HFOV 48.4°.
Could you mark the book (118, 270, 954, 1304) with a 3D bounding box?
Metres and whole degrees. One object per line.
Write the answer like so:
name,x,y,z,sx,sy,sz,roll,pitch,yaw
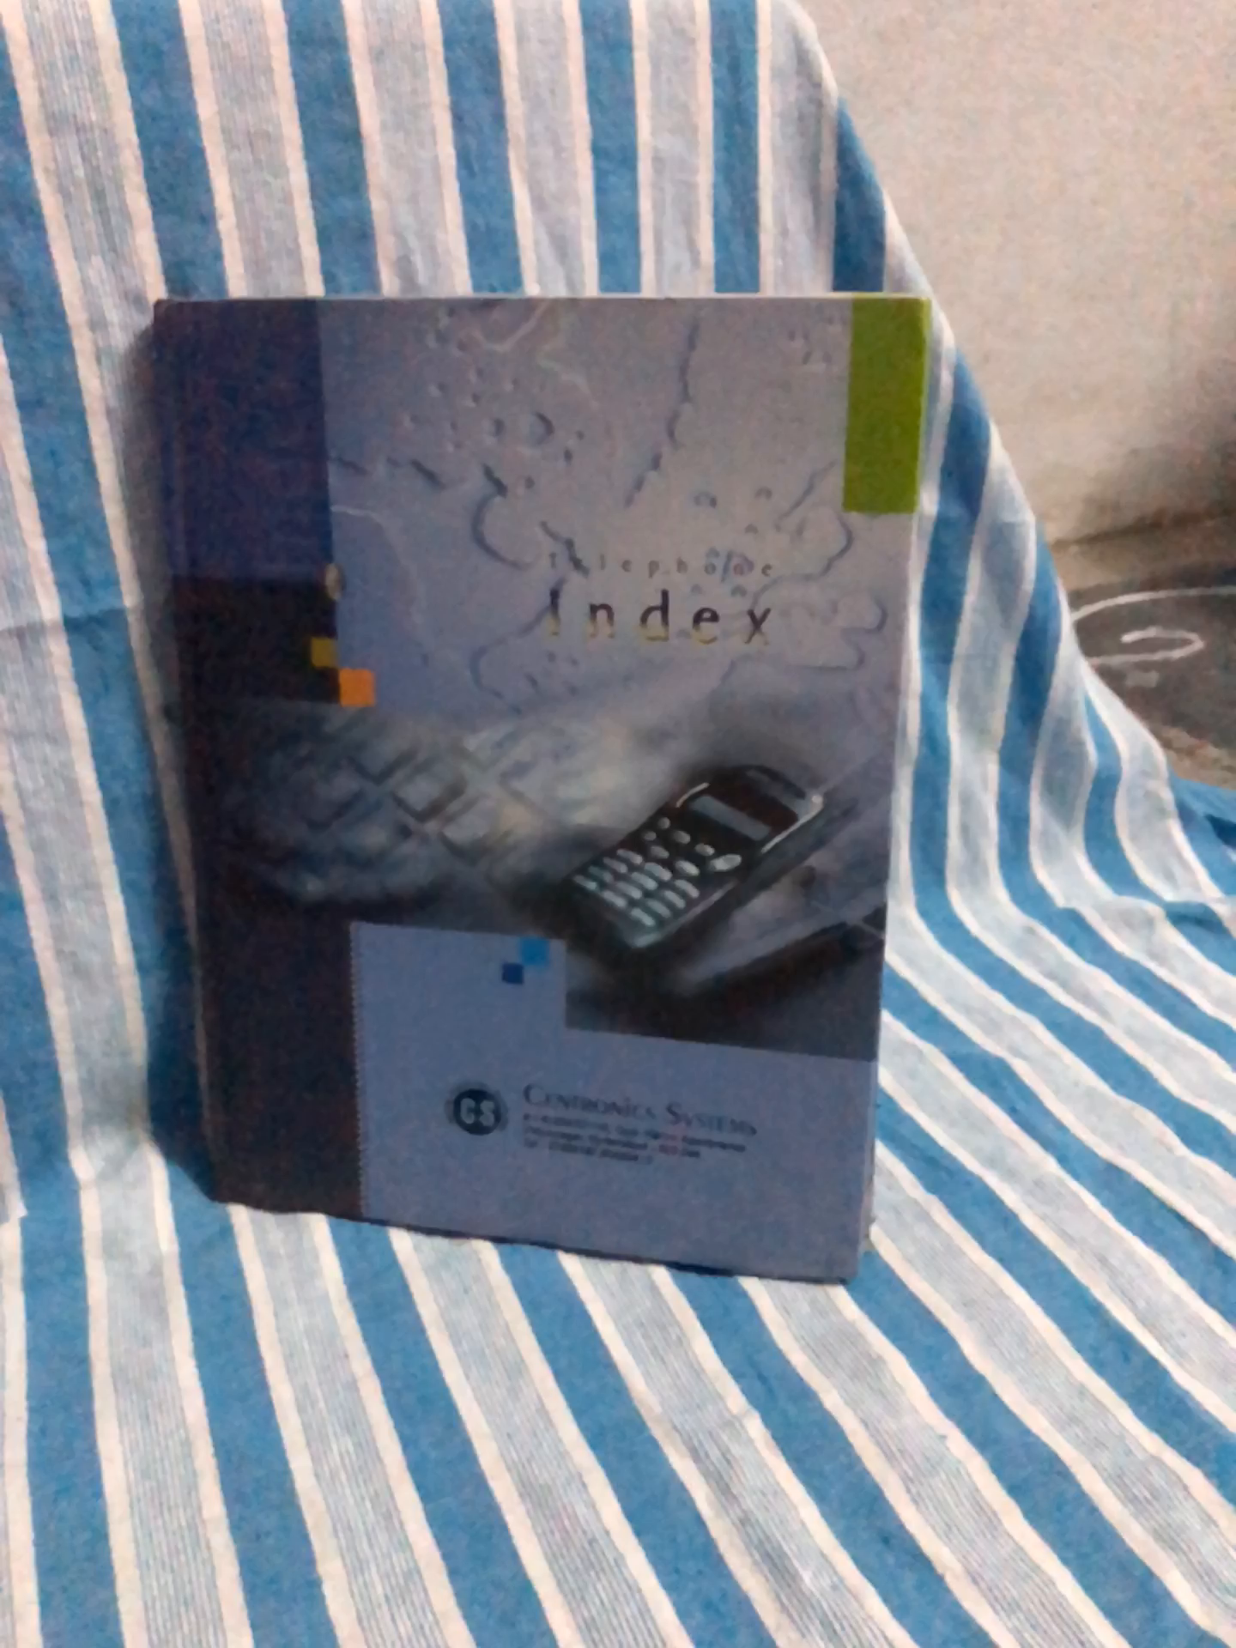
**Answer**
book,-0.024,-0.006,0.354,0.193,0.253,0.023,5,17,11
